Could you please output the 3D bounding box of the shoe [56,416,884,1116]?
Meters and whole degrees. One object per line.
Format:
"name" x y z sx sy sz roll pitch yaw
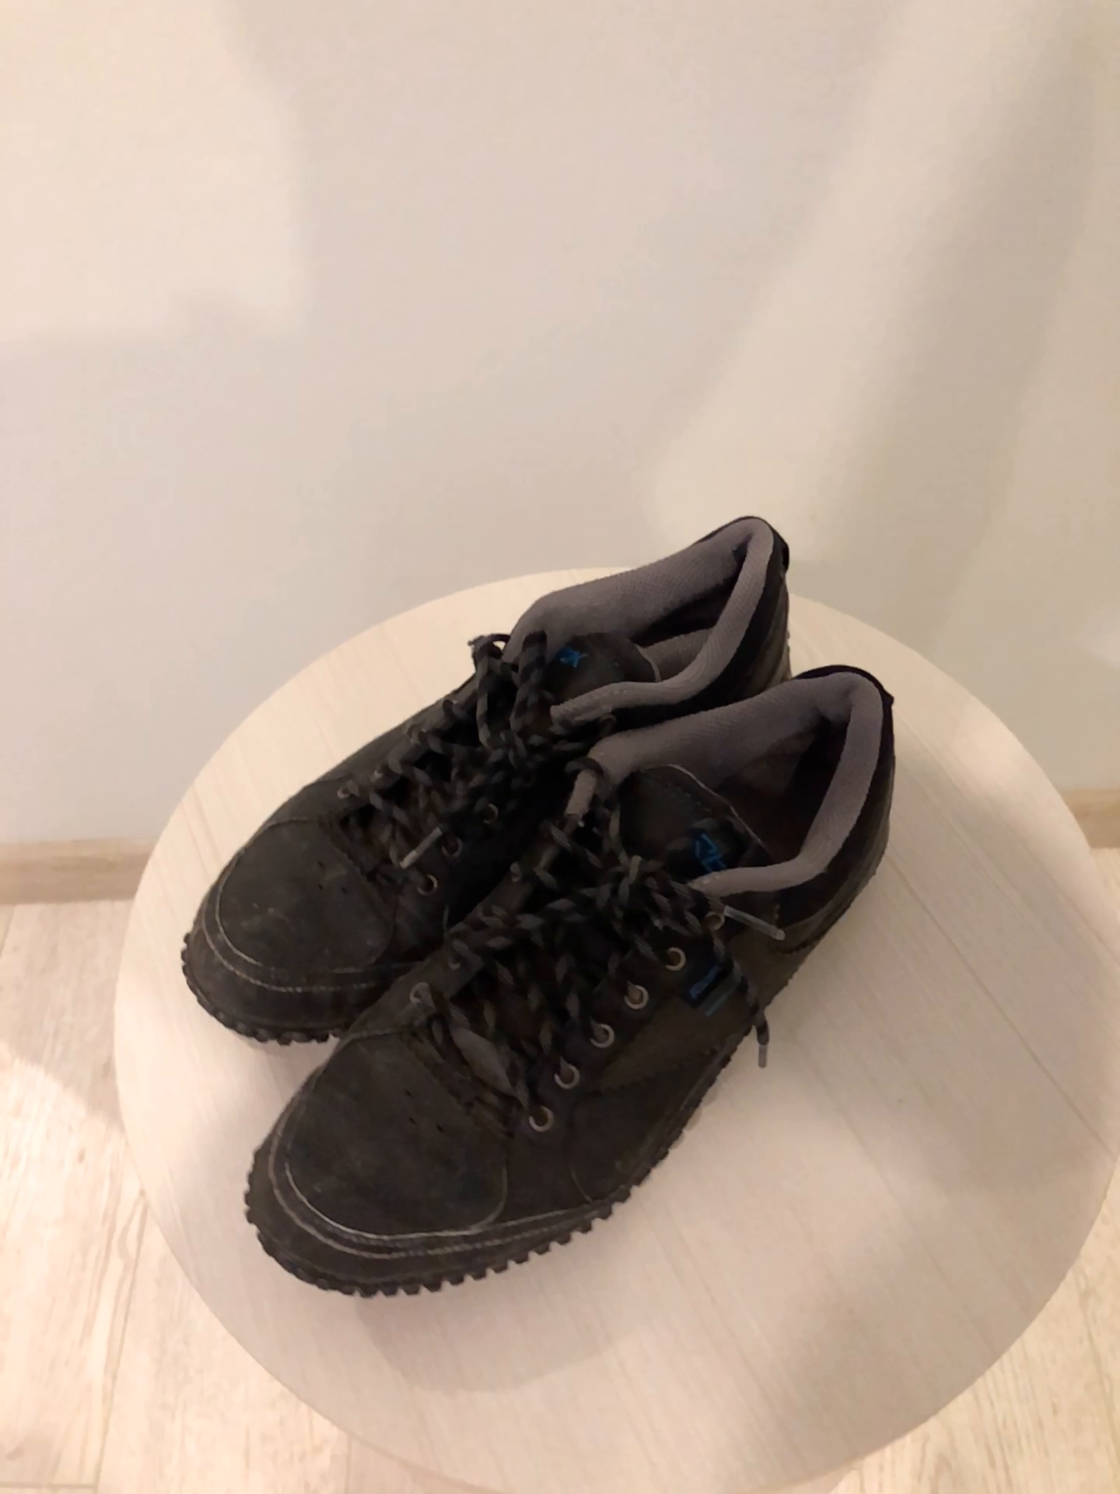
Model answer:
"shoe" -0.023 -0.002 0.464 0.271 0.099 0.110 -31 58 -19

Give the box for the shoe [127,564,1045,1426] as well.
"shoe" 0.019 0.069 0.409 0.271 0.099 0.110 -36 59 -22
